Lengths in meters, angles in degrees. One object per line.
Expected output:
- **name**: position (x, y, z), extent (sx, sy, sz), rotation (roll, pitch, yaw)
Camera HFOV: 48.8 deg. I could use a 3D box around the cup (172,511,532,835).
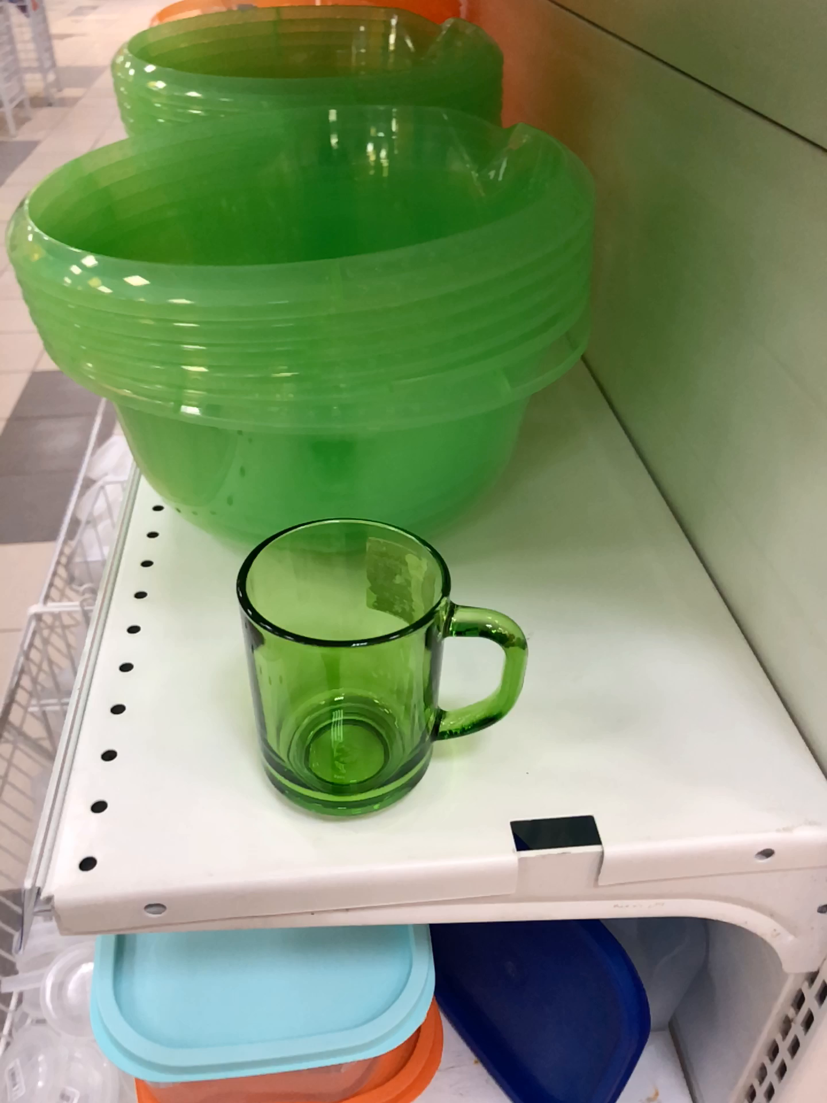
- **cup**: position (-0.017, 0.043, 0.331), extent (0.110, 0.086, 0.073), rotation (2, 36, 3)
